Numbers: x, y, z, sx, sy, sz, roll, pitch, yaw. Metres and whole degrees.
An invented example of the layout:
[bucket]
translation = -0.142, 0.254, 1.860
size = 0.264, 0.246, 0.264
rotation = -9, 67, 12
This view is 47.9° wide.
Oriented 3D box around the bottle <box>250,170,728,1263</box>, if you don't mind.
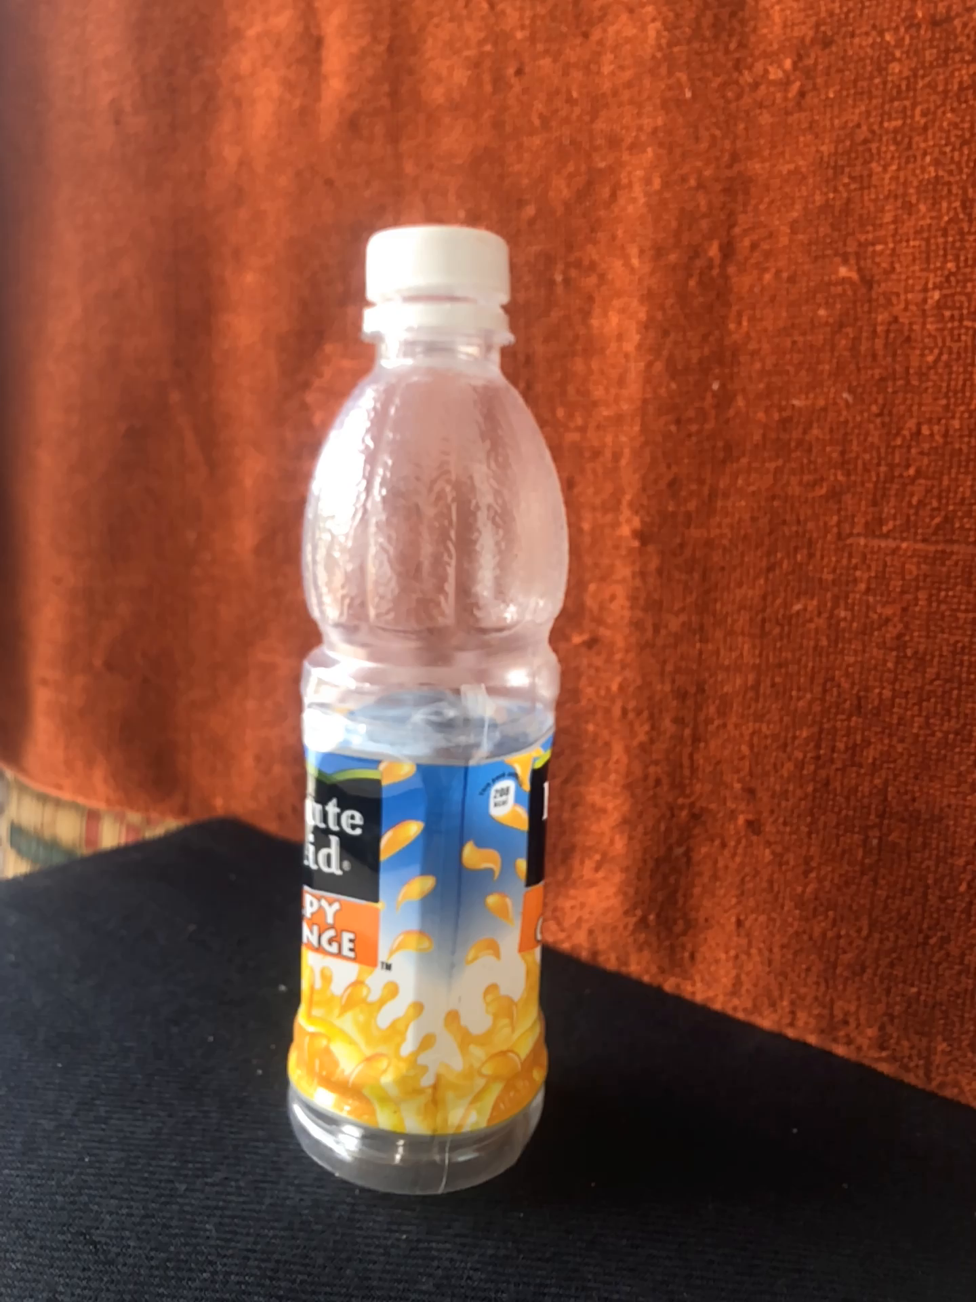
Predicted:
[bottle]
translation = -0.006, 0.012, 0.242
size = 0.070, 0.199, 0.070
rotation = 2, 11, 0
